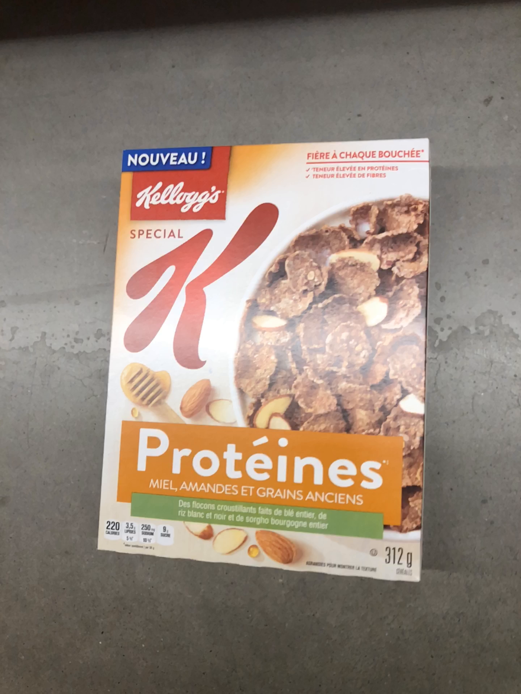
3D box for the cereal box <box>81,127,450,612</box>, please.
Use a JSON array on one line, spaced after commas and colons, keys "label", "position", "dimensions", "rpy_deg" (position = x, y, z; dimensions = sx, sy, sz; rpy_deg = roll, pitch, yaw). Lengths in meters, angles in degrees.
[{"label": "cereal box", "position": [0.003, 0.008, 0.343], "dimensions": [0.200, 0.050, 0.250], "rpy_deg": [1, 87, 12]}]
